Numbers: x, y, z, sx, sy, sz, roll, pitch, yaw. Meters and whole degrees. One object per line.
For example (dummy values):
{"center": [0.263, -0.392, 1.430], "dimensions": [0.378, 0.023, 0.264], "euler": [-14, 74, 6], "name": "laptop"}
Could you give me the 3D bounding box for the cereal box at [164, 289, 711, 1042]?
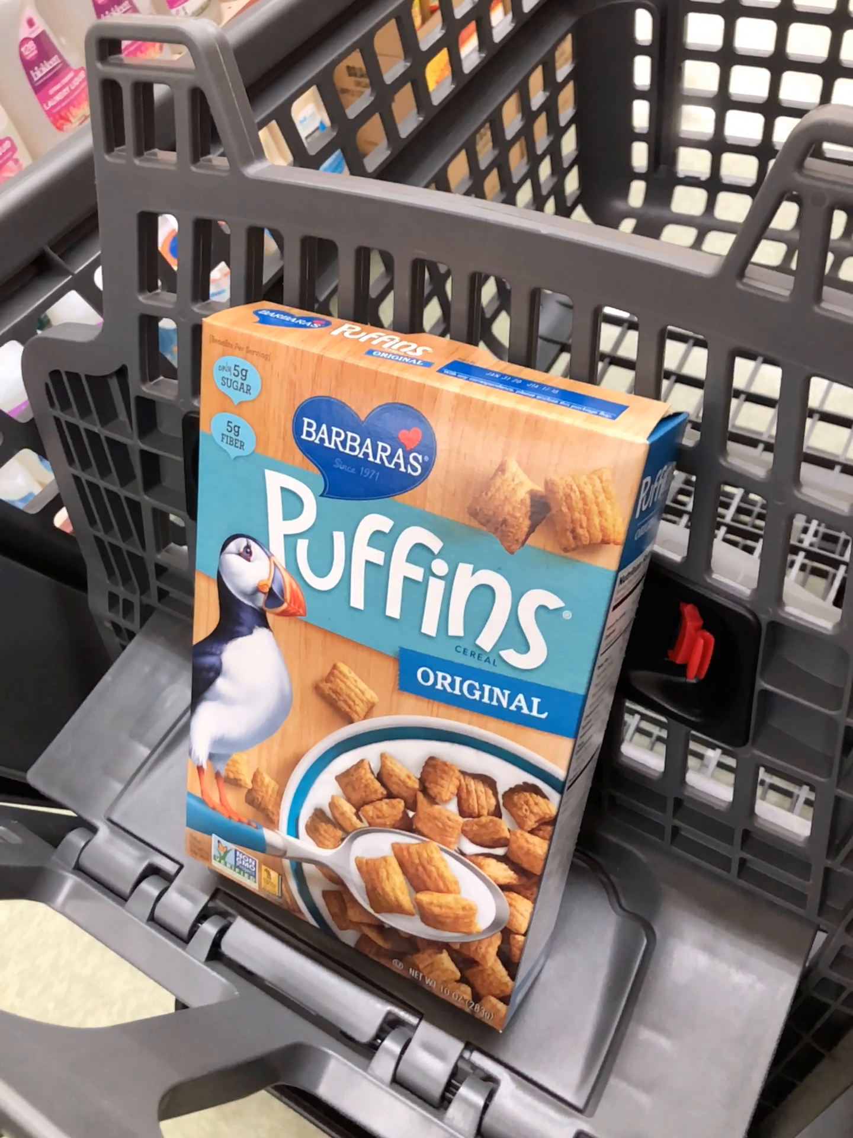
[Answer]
{"center": [-0.017, 0.039, 0.387], "dimensions": [0.190, 0.260, 0.050], "euler": [20, 28, 23], "name": "cereal box"}
